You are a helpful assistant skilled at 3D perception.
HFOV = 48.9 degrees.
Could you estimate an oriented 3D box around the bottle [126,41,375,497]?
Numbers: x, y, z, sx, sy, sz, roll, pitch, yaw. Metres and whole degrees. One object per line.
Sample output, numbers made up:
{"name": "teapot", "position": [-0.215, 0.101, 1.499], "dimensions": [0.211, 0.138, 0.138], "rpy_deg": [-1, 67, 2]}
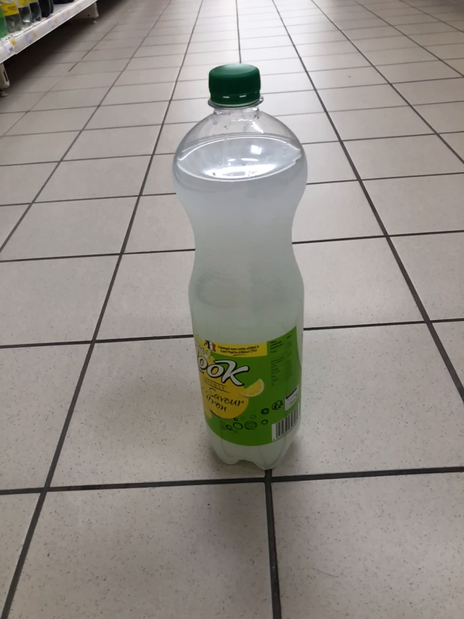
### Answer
{"name": "bottle", "position": [0.018, -0.014, 0.378], "dimensions": [0.100, 0.308, 0.100], "rpy_deg": [-3, 37, 2]}
